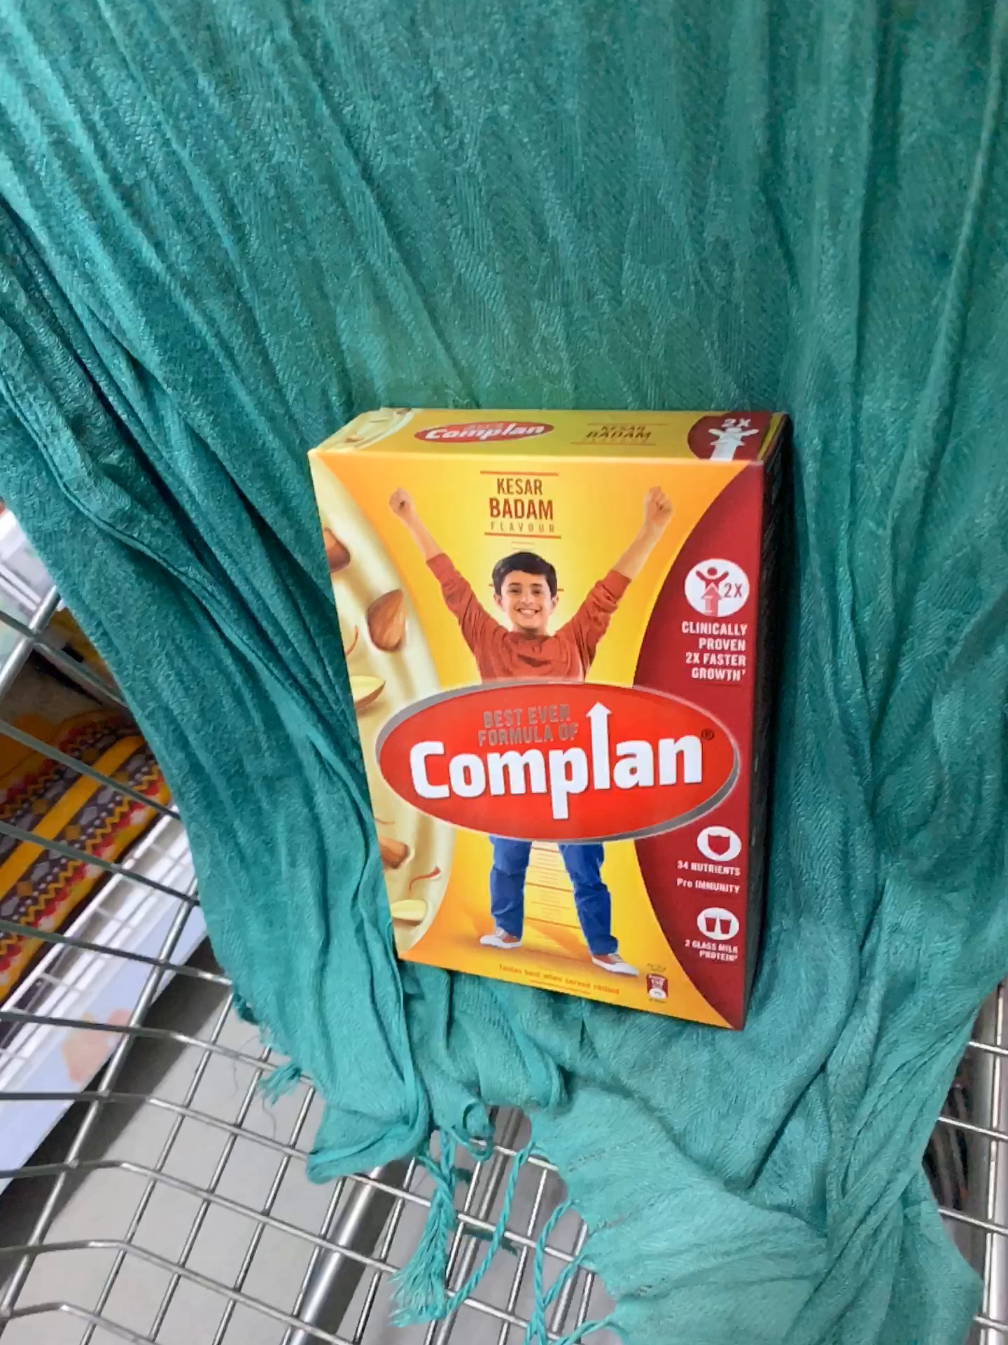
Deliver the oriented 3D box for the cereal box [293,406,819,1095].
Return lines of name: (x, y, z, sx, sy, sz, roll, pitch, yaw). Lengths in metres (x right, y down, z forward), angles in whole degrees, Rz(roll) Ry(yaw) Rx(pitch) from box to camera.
cereal box: (0.021, 0.021, 0.337, 0.140, 0.200, 0.060, 6, 23, 22)
